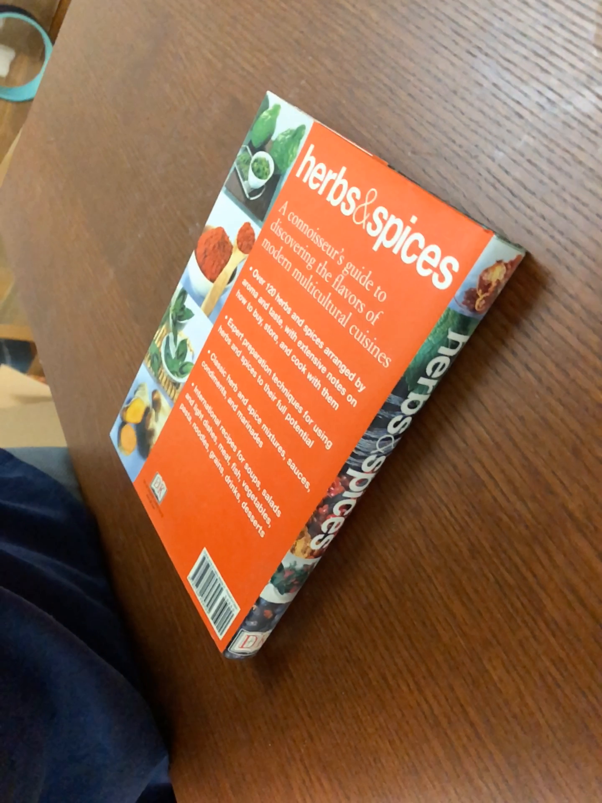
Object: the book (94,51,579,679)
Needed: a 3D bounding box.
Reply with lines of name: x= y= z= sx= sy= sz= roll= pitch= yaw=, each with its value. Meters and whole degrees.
book: x=-0.019 y=-0.024 z=0.374 sx=0.211 sy=0.040 sz=0.270 roll=51 pitch=120 yaw=39
